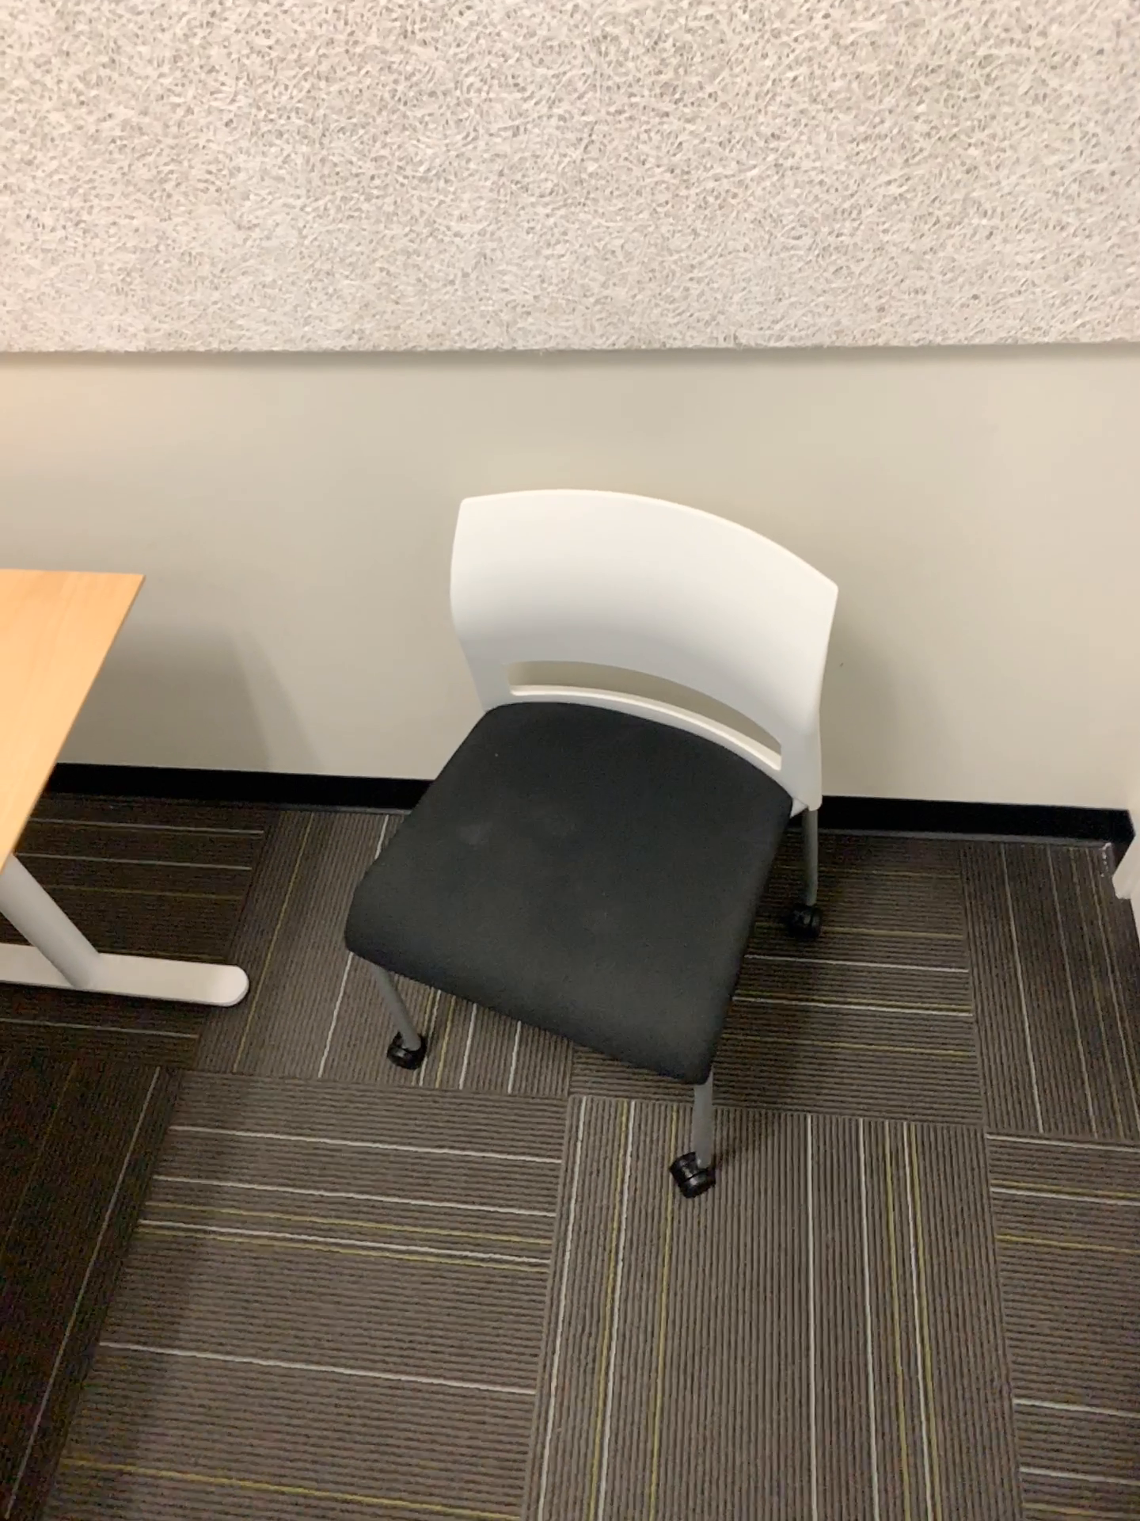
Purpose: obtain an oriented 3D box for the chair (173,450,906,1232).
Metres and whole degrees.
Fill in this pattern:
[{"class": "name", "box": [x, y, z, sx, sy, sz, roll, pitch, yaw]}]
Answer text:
[{"class": "chair", "box": [0.017, 0.125, 1.477, 0.581, 0.737, 0.541, 17, 57, 18]}]
